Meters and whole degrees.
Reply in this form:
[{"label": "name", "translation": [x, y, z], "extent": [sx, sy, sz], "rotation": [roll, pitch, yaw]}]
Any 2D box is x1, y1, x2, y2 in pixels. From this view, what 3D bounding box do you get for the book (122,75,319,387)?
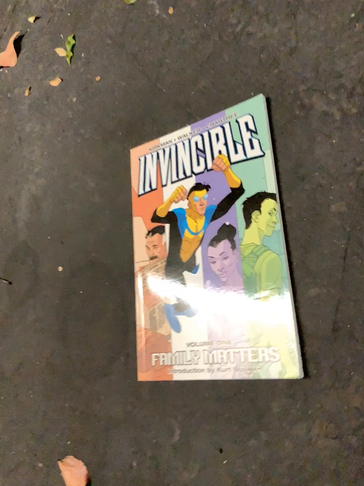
[{"label": "book", "translation": [0.018, -0.007, 0.394], "extent": [0.180, 0.020, 0.270], "rotation": [-14, 69, 31]}]
